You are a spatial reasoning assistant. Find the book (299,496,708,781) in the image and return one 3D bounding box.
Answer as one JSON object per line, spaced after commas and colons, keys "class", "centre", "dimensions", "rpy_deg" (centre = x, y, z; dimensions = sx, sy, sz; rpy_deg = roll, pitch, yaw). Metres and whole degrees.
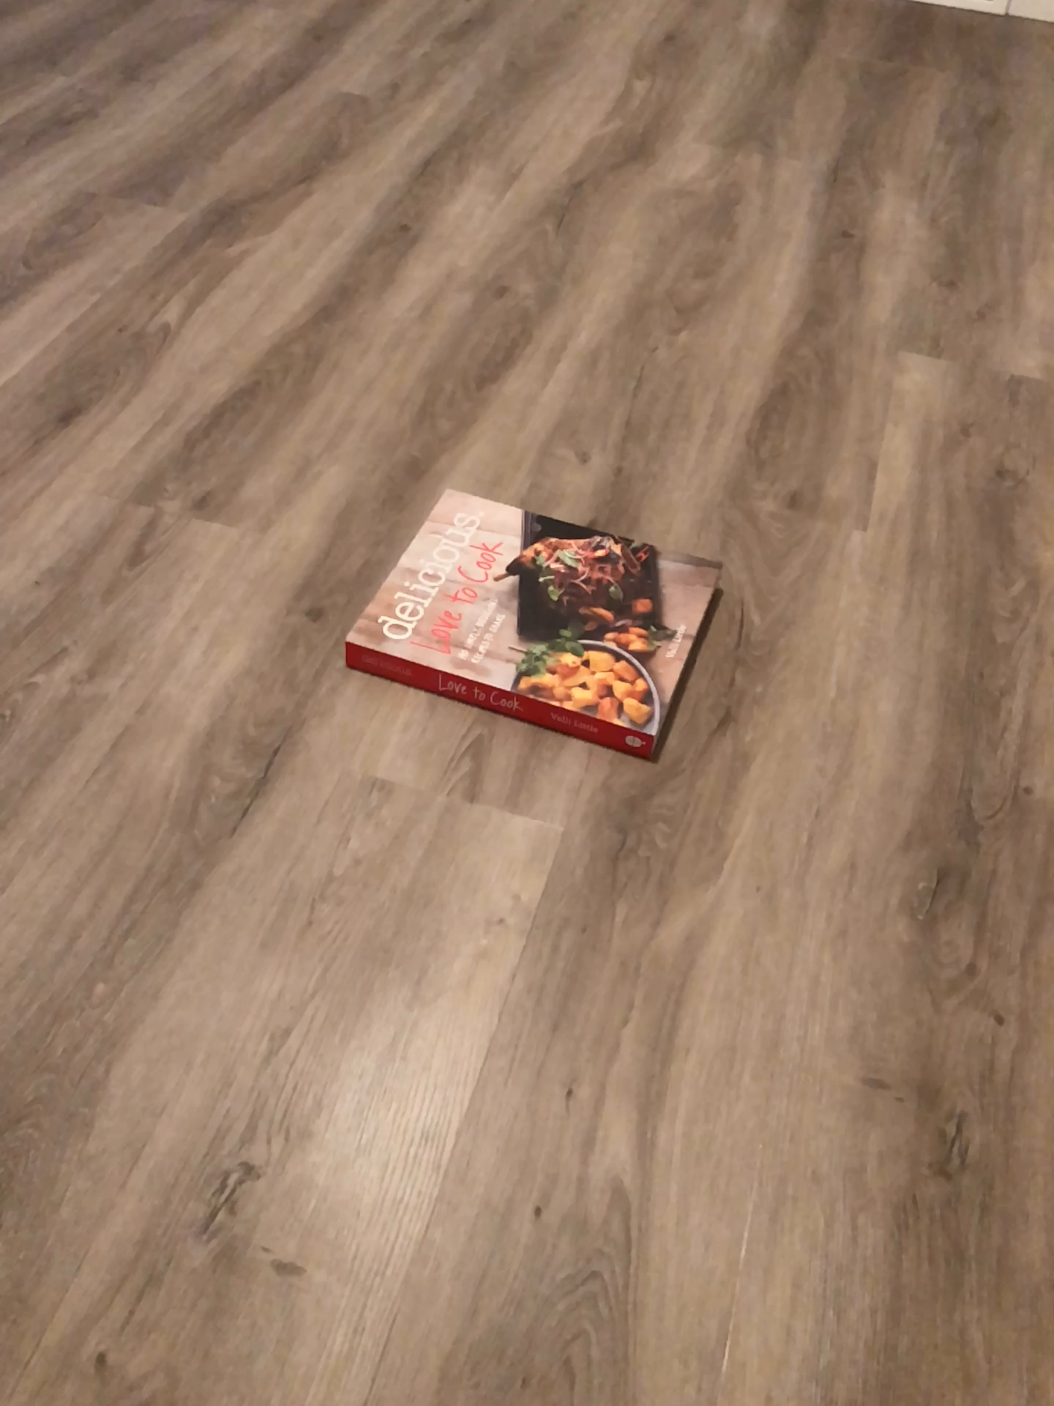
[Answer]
{"class": "book", "centre": [-0.014, -0.067, 1.006], "dimensions": [0.290, 0.030, 0.222], "rpy_deg": [17, 50, 12]}
